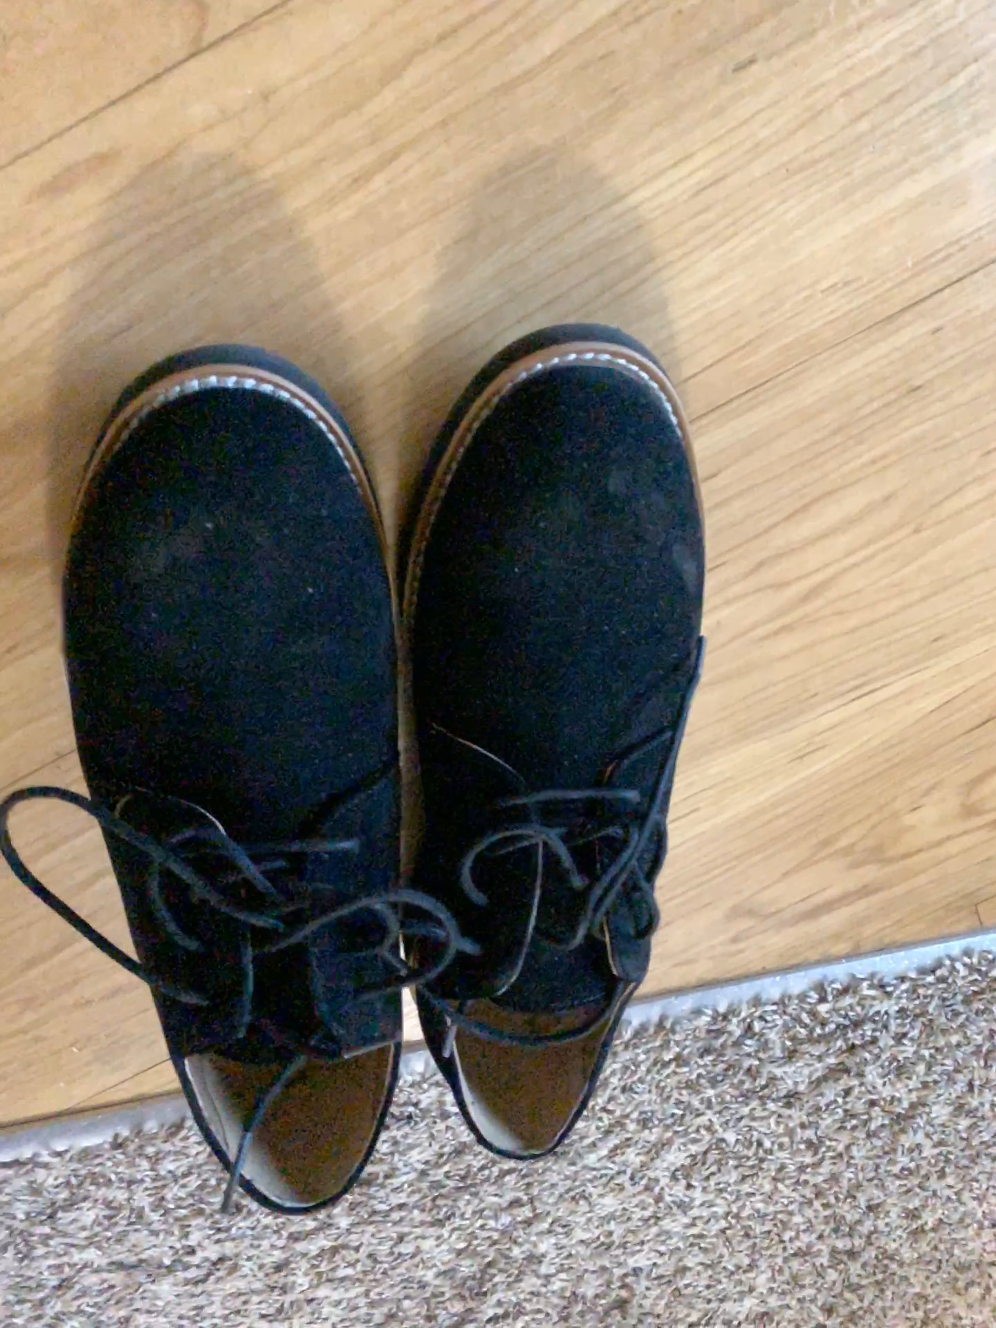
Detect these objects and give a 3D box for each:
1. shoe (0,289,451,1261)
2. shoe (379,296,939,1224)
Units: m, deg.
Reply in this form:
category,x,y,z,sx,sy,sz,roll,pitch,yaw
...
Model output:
category,x,y,z,sx,sy,sz,roll,pitch,yaw
shoe,-0.070,0.056,0.314,0.100,0.070,0.312,-5,123,-10
shoe,0.026,0.053,0.333,0.110,0.070,0.312,-1,122,-13
